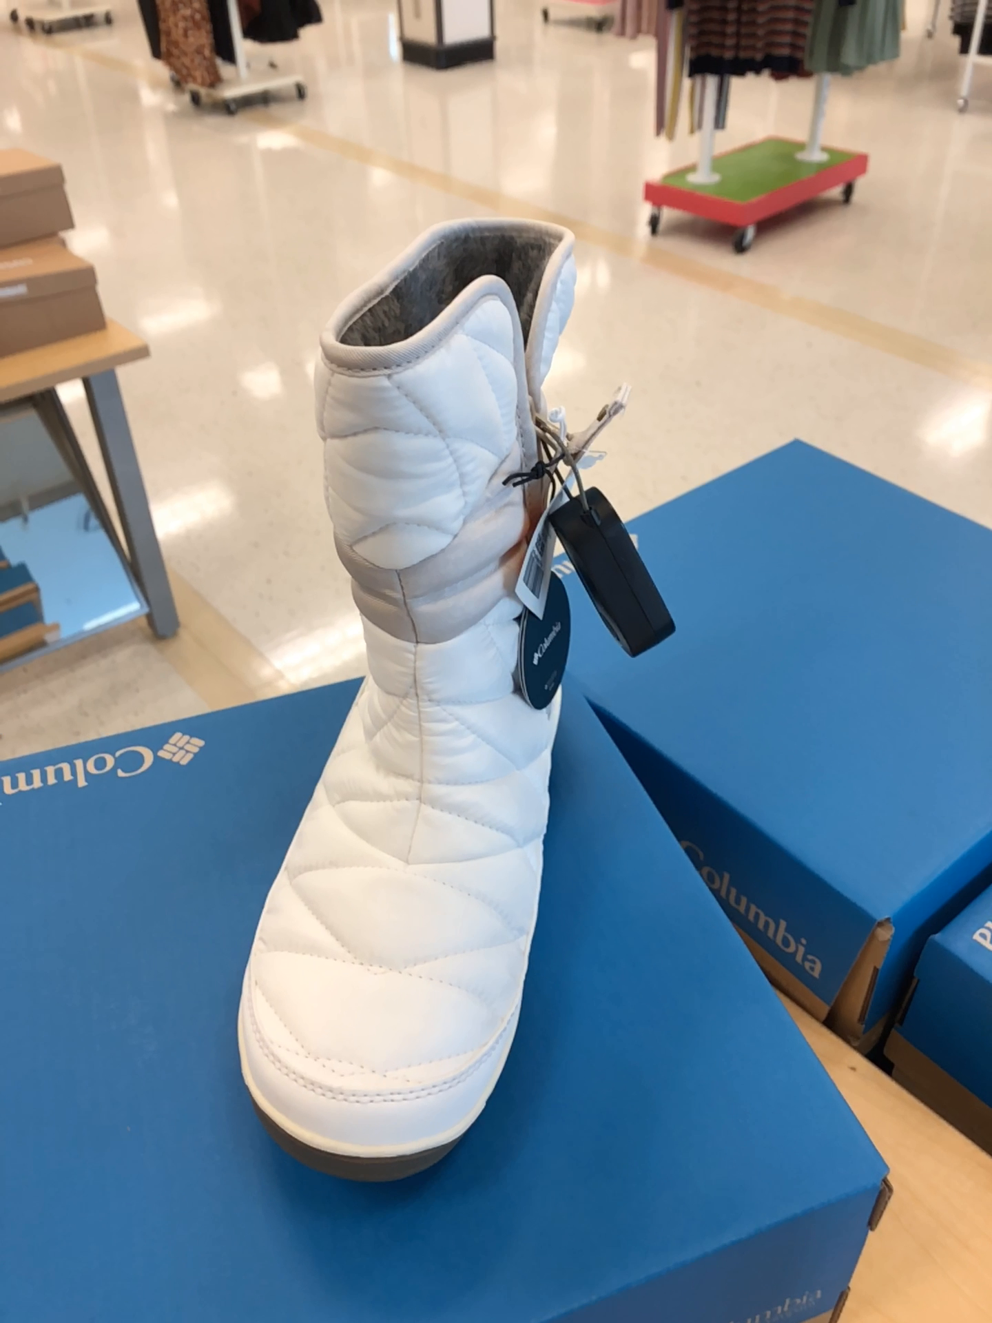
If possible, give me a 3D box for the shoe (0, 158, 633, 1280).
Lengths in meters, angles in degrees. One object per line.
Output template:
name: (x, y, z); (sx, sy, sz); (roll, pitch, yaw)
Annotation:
shoe: (-0.026, -0.001, 0.347); (0.104, 0.228, 0.262); (5, 39, 9)
